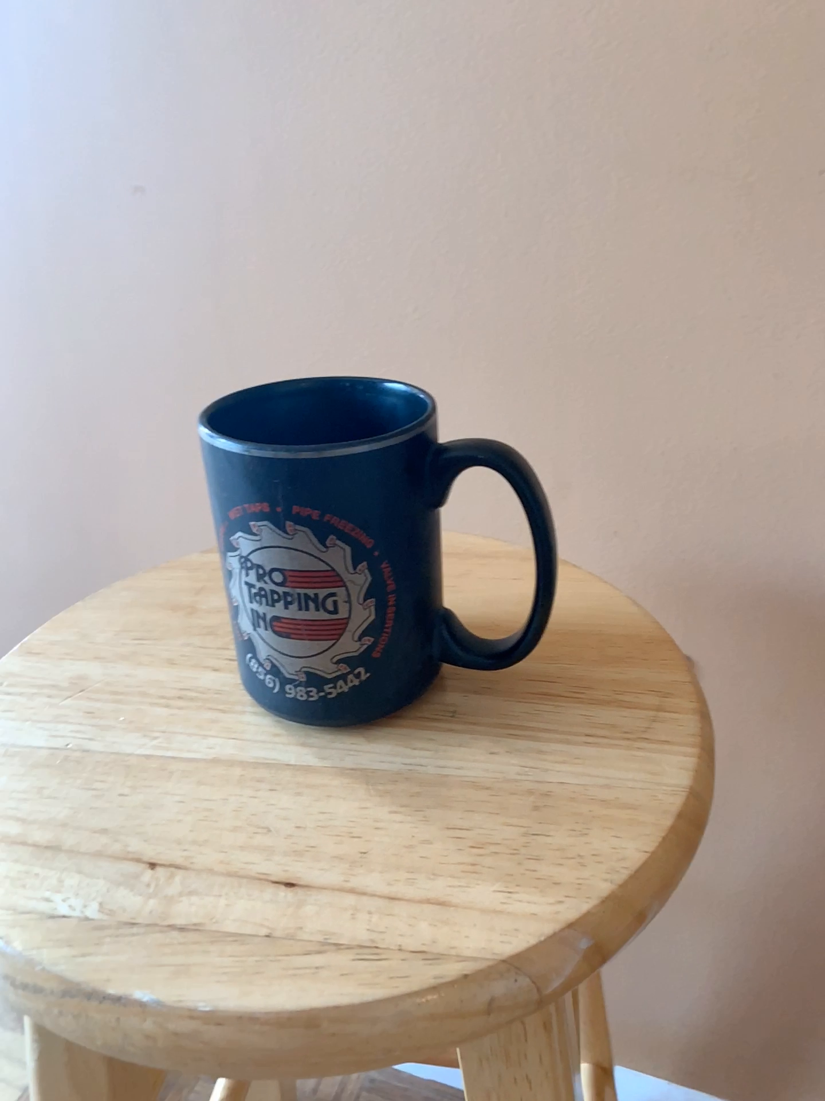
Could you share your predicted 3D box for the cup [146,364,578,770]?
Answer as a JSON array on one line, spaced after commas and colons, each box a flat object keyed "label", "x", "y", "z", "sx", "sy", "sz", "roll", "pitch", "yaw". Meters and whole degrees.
[{"label": "cup", "x": -0.010, "y": -0.003, "z": 0.353, "sx": 0.140, "sy": 0.119, "sz": 0.111, "roll": 5, "pitch": 26, "yaw": 13}]
